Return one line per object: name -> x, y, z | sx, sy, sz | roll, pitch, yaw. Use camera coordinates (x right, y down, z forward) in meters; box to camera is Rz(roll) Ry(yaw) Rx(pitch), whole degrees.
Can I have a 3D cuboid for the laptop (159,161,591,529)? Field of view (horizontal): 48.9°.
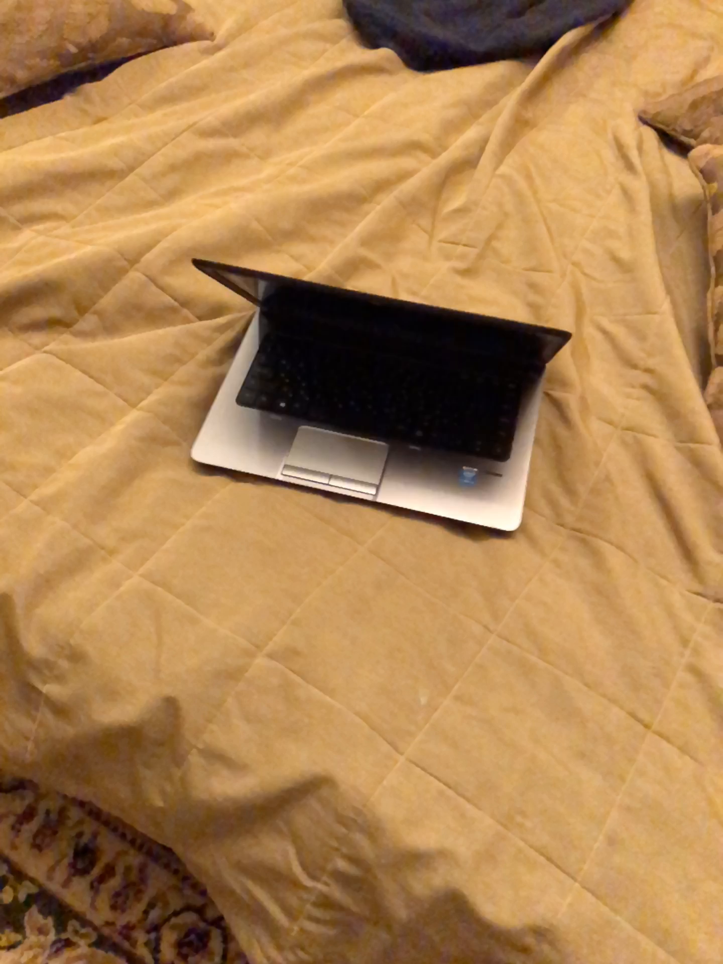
laptop -> 0.020, -0.132, 0.766 | 0.330, 0.189, 0.226 | 12, 56, 5
